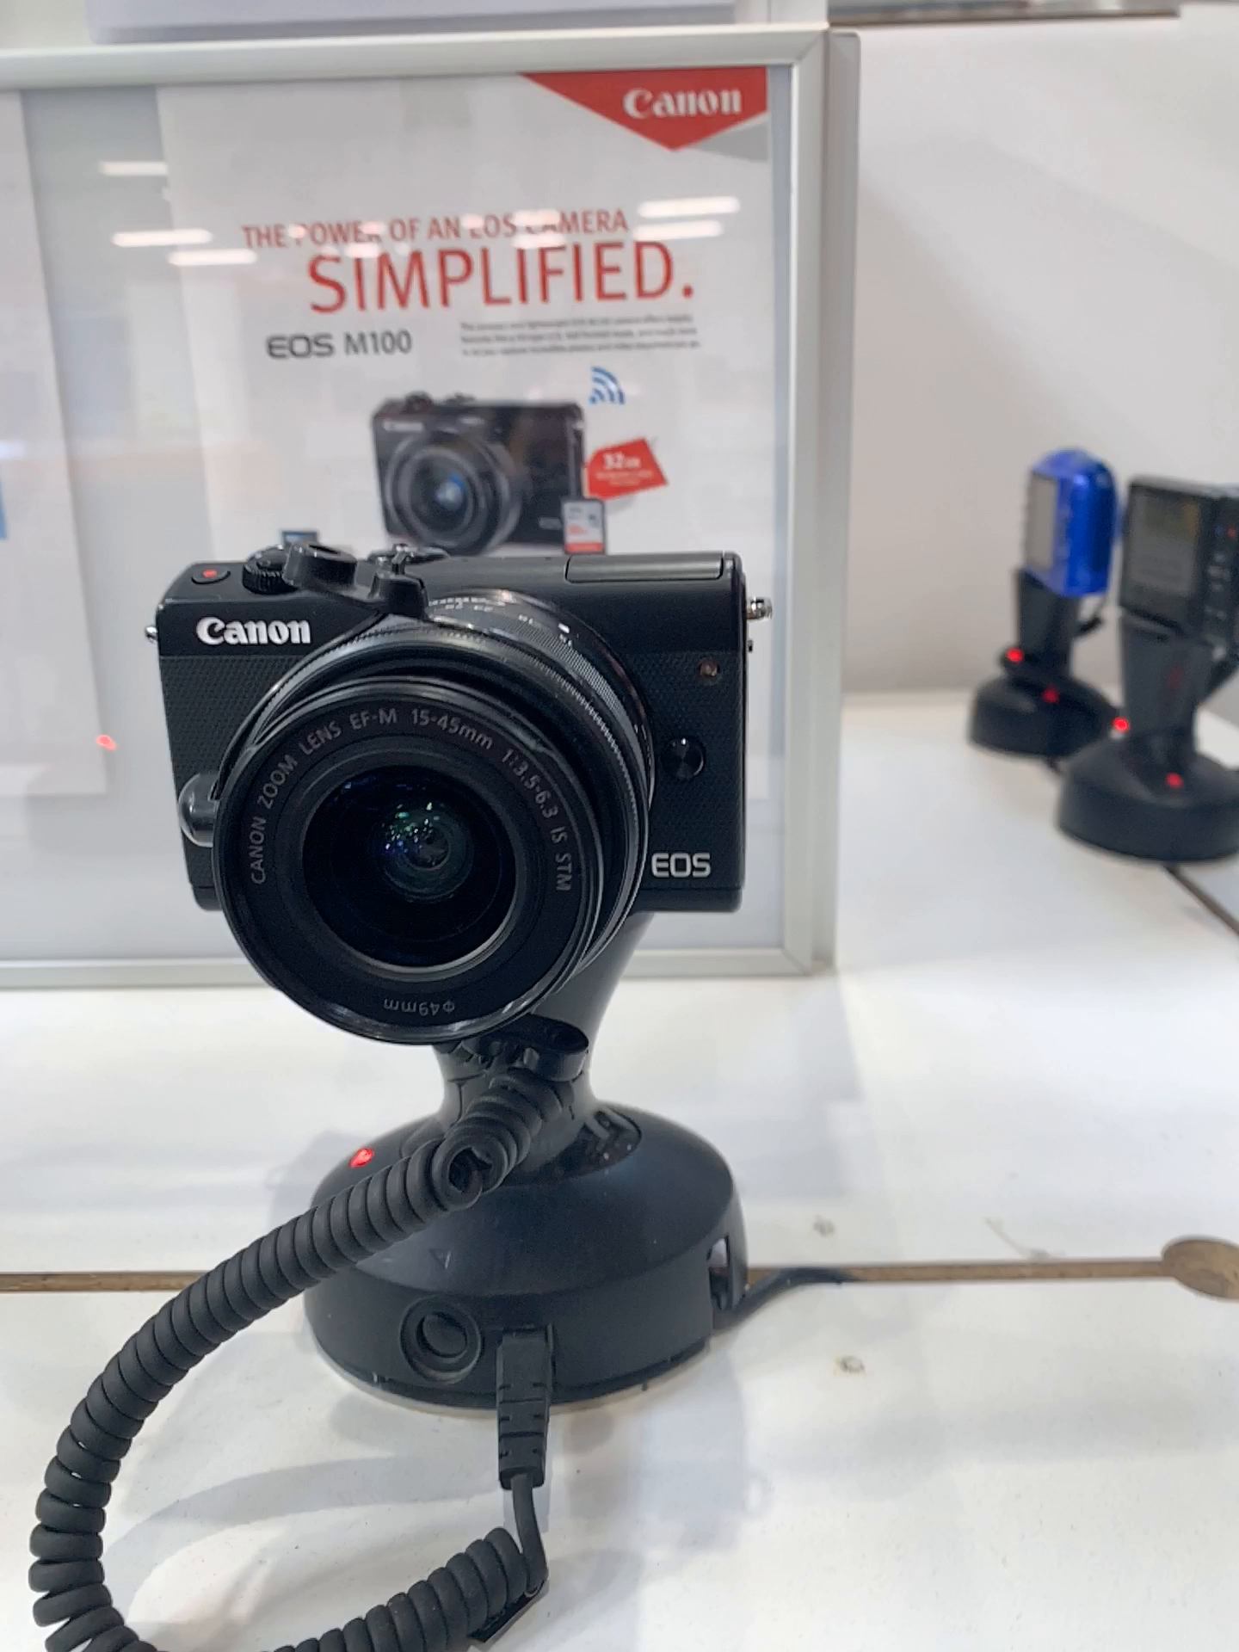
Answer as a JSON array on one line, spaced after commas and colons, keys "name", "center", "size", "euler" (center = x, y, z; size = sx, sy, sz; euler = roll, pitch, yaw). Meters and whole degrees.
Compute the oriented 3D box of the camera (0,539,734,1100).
[{"name": "camera", "center": [-0.038, -0.009, 0.204], "size": [0.110, 0.066, 0.093], "euler": [0, 13, 6]}]
